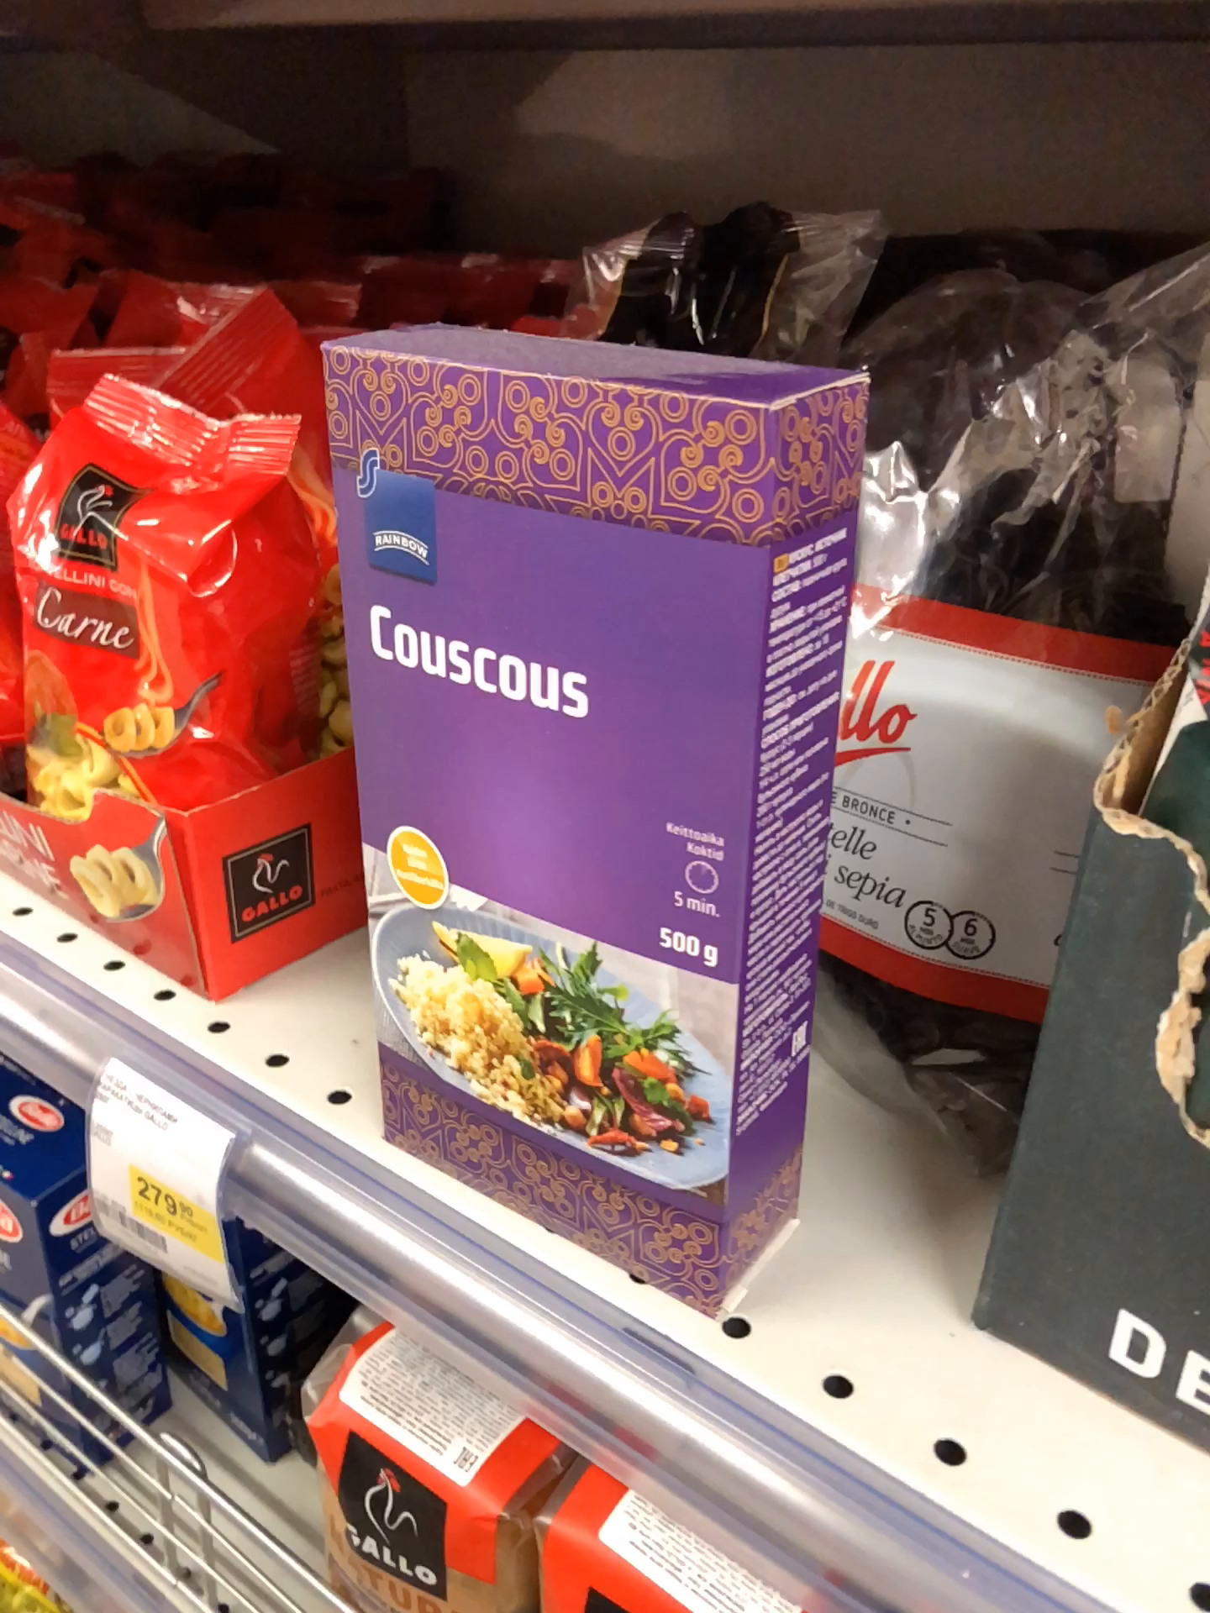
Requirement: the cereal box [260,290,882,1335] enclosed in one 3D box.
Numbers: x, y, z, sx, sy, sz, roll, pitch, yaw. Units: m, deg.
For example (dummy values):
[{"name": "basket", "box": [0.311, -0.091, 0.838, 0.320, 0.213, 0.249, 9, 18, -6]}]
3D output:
[{"name": "cereal box", "box": [-0.011, 0.002, 0.286, 0.110, 0.199, 0.040, 18, 31, 31]}]
